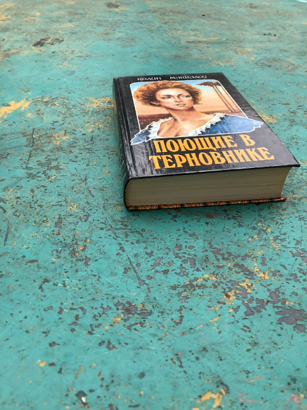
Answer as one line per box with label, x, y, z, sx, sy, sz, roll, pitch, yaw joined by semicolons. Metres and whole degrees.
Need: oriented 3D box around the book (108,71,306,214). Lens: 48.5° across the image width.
book;0.030;-0.078;0.335;0.138;0.032;0.209;-5;40;-7
